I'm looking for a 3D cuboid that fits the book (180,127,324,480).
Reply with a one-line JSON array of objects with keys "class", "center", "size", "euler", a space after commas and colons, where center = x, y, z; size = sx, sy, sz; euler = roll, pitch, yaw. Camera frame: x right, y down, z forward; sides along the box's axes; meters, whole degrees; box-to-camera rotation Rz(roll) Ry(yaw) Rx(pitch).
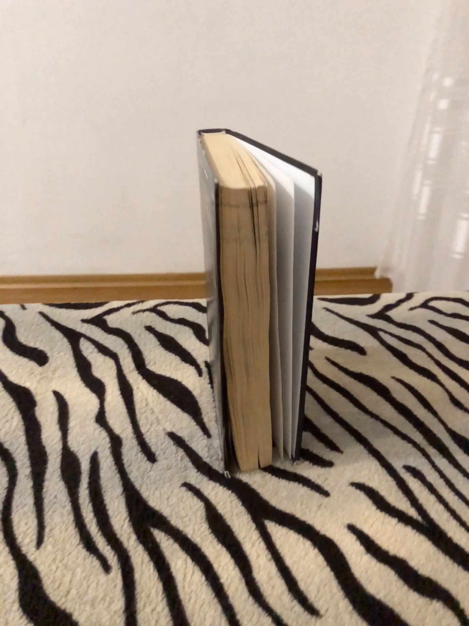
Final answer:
[{"class": "book", "center": [0.003, -0.013, 0.353], "size": [0.057, 0.191, 0.145], "euler": [-5, 29, -9]}]
